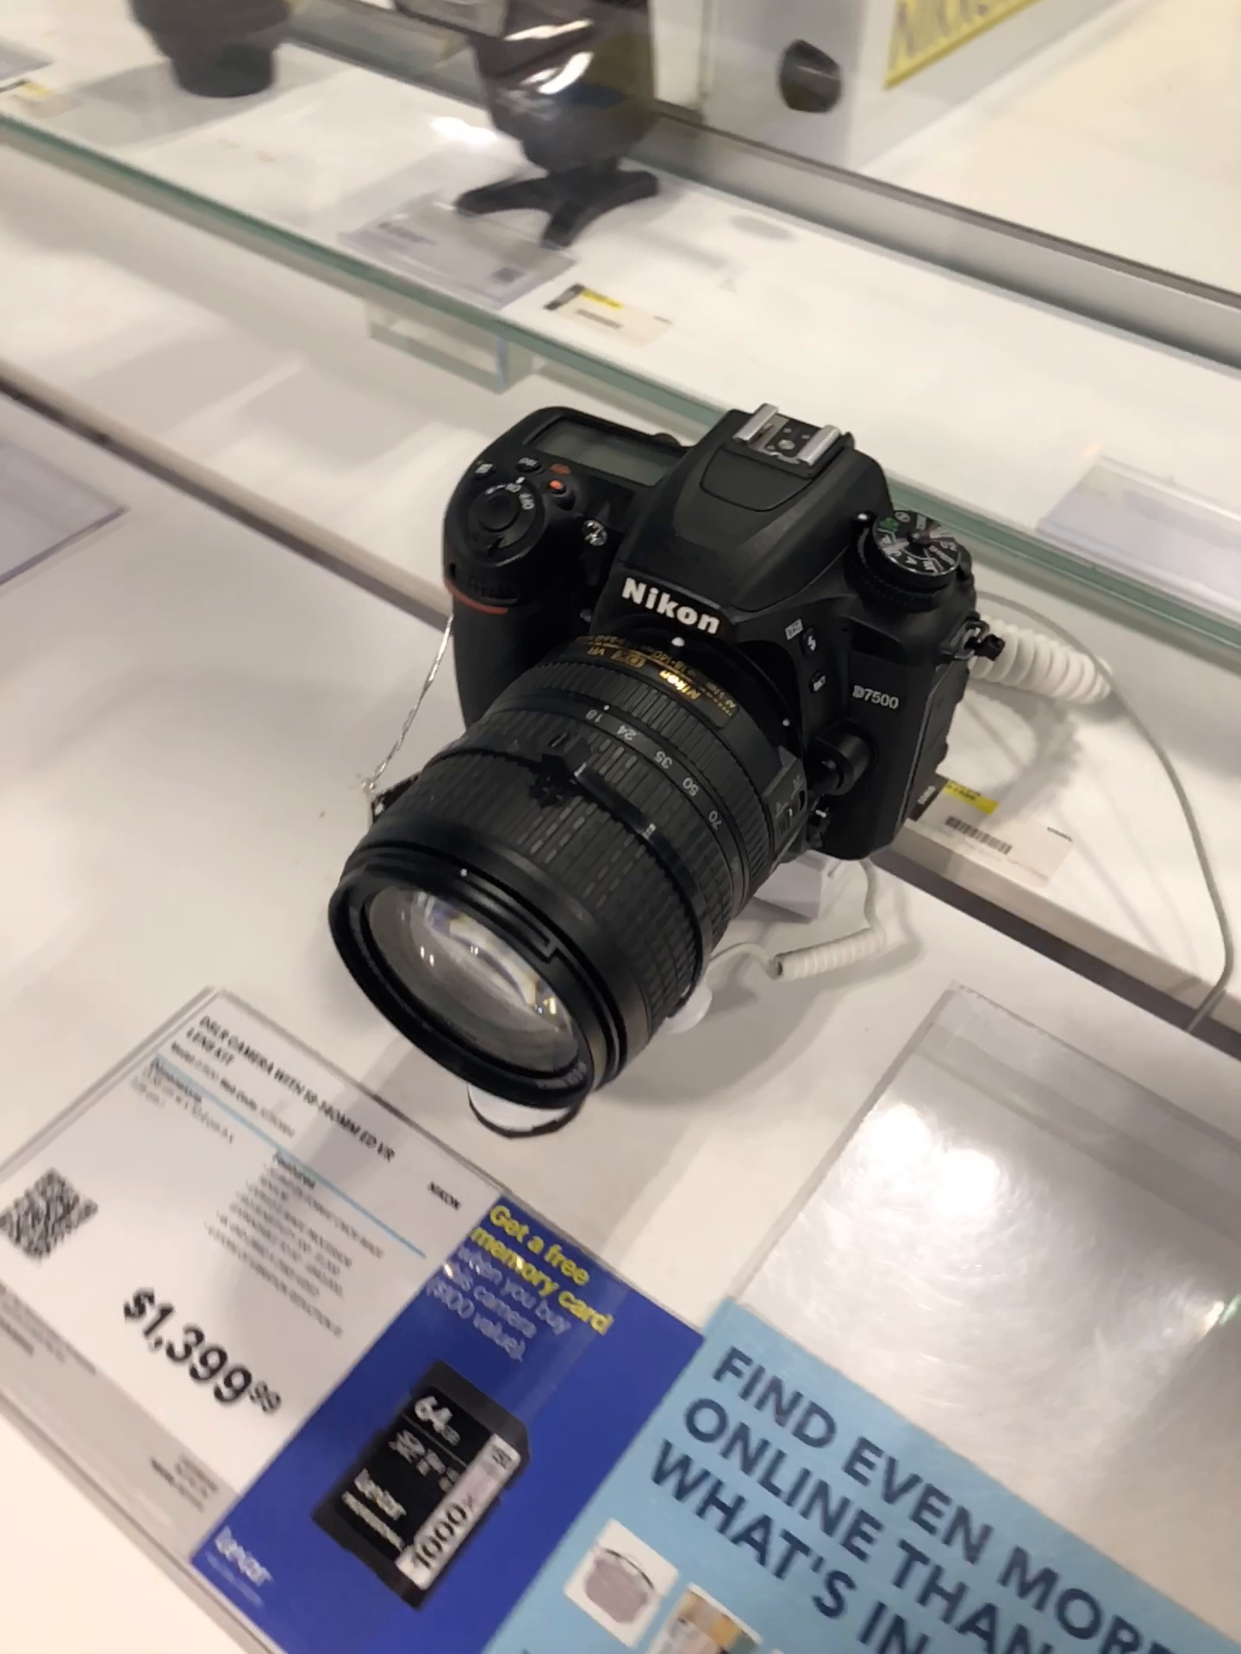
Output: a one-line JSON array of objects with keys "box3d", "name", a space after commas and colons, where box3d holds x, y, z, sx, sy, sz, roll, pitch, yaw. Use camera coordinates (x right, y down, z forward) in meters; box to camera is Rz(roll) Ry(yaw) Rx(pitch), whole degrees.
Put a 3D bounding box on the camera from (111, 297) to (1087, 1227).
[{"box3d": [0.005, -0.032, 0.341, 0.140, 0.089, 0.191, 25, 52, 19], "name": "camera"}]
